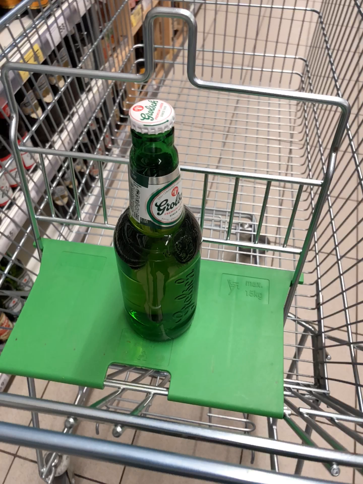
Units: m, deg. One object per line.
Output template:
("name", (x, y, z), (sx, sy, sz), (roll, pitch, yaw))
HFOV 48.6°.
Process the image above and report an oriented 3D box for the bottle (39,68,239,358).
("bottle", (-0.023, -0.003, 0.316), (0.080, 0.219, 0.080), (0, 54, 0))
